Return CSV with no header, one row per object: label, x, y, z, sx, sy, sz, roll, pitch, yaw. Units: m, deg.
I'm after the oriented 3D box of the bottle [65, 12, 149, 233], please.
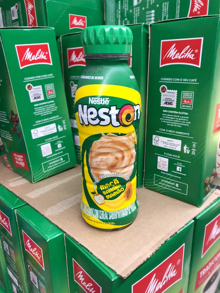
bottle,0.002,-0.017,0.228,0.060,0.179,0.060,-1,17,0
